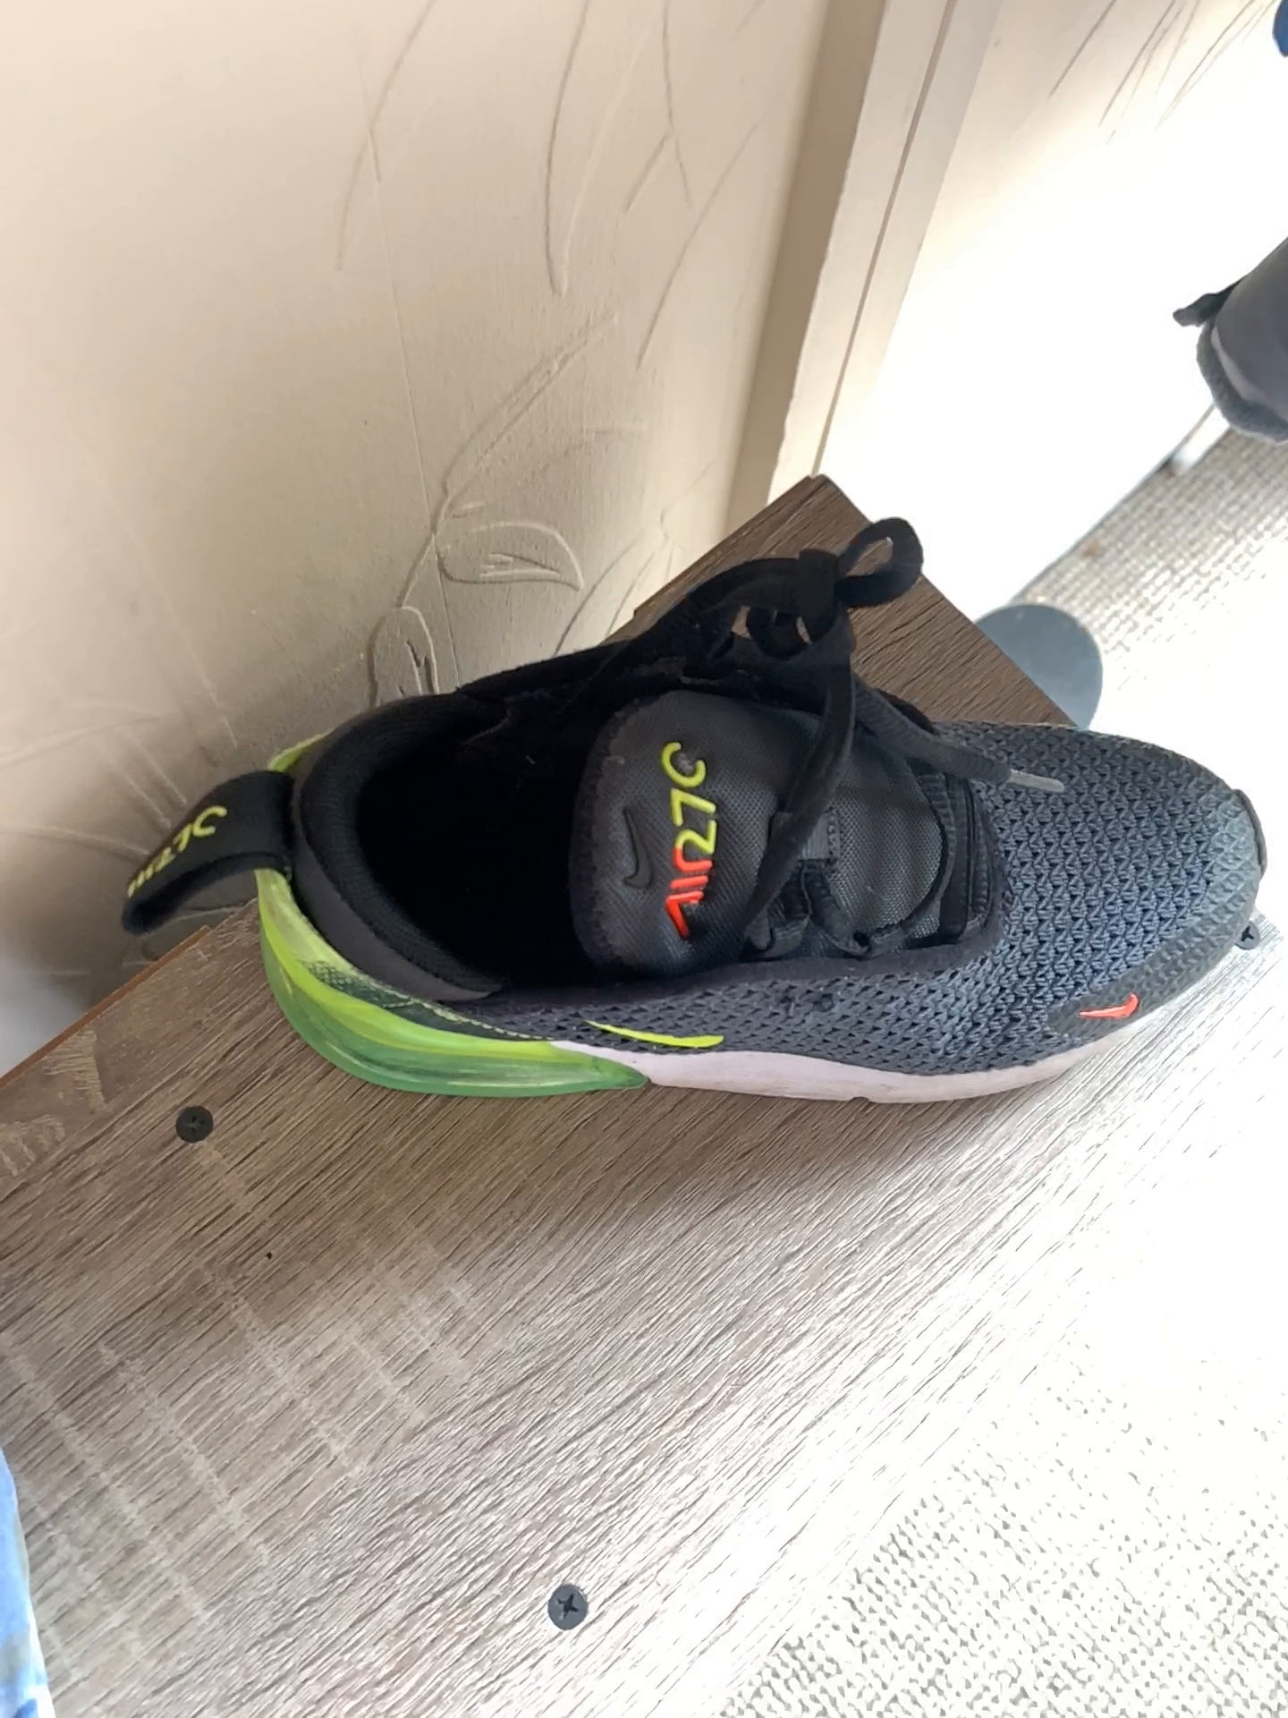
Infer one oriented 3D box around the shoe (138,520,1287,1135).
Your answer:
[{"bbox_3d":[0.028,-0.001,0.304,0.247,0.110,0.090,-5,72,-6],"label":"shoe"}]
